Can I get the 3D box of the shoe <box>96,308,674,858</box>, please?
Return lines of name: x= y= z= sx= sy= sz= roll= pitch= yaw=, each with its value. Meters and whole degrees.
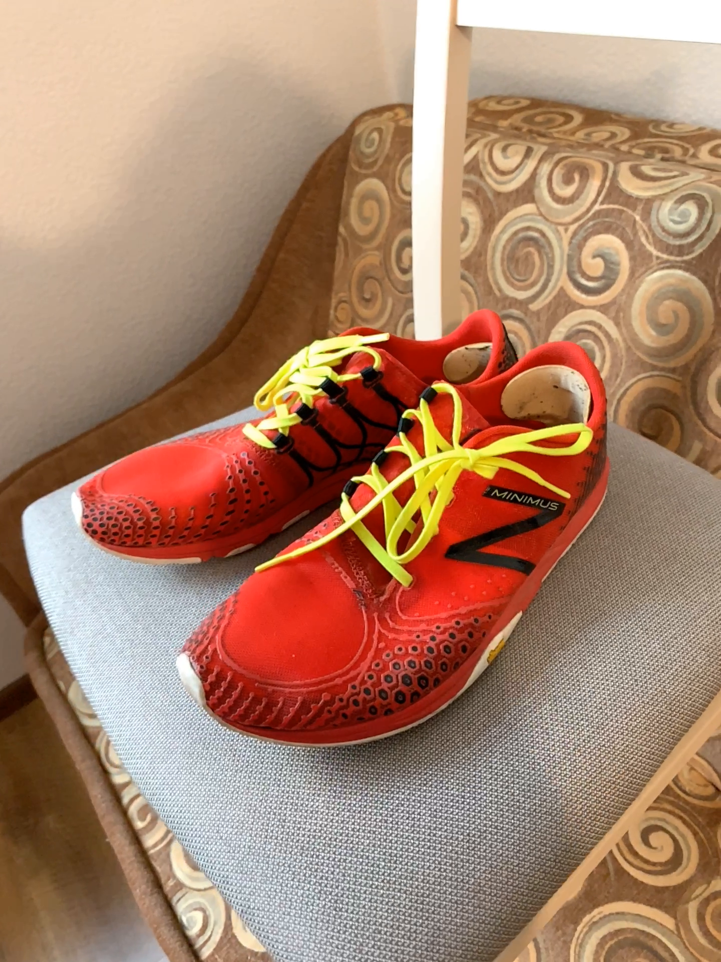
shoe: x=0.027 y=0.028 z=0.365 sx=0.260 sy=0.090 sz=0.111 roll=-37 pitch=46 yaw=-25

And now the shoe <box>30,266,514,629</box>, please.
shoe: x=-0.050 y=-0.029 z=0.456 sx=0.260 sy=0.090 sz=0.111 roll=-22 pitch=42 yaw=-10
